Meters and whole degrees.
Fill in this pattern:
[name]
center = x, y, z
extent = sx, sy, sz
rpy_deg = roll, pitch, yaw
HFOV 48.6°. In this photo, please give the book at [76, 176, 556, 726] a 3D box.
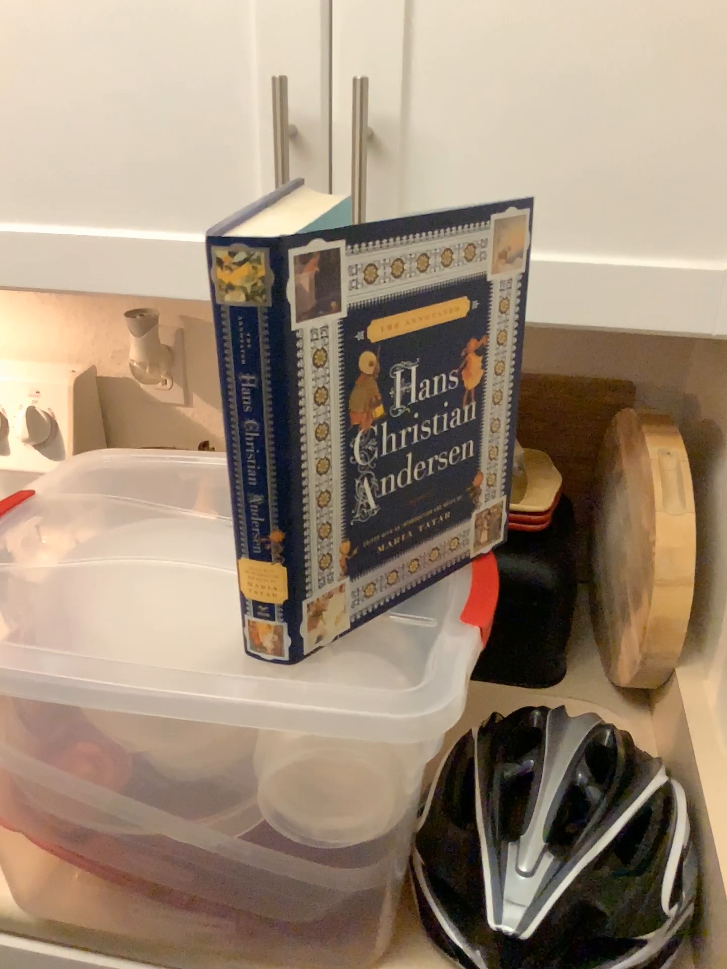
[book]
center = -0.012, -0.048, 0.539
extent = 0.200, 0.260, 0.250
rpy_deg = 12, 29, 18
